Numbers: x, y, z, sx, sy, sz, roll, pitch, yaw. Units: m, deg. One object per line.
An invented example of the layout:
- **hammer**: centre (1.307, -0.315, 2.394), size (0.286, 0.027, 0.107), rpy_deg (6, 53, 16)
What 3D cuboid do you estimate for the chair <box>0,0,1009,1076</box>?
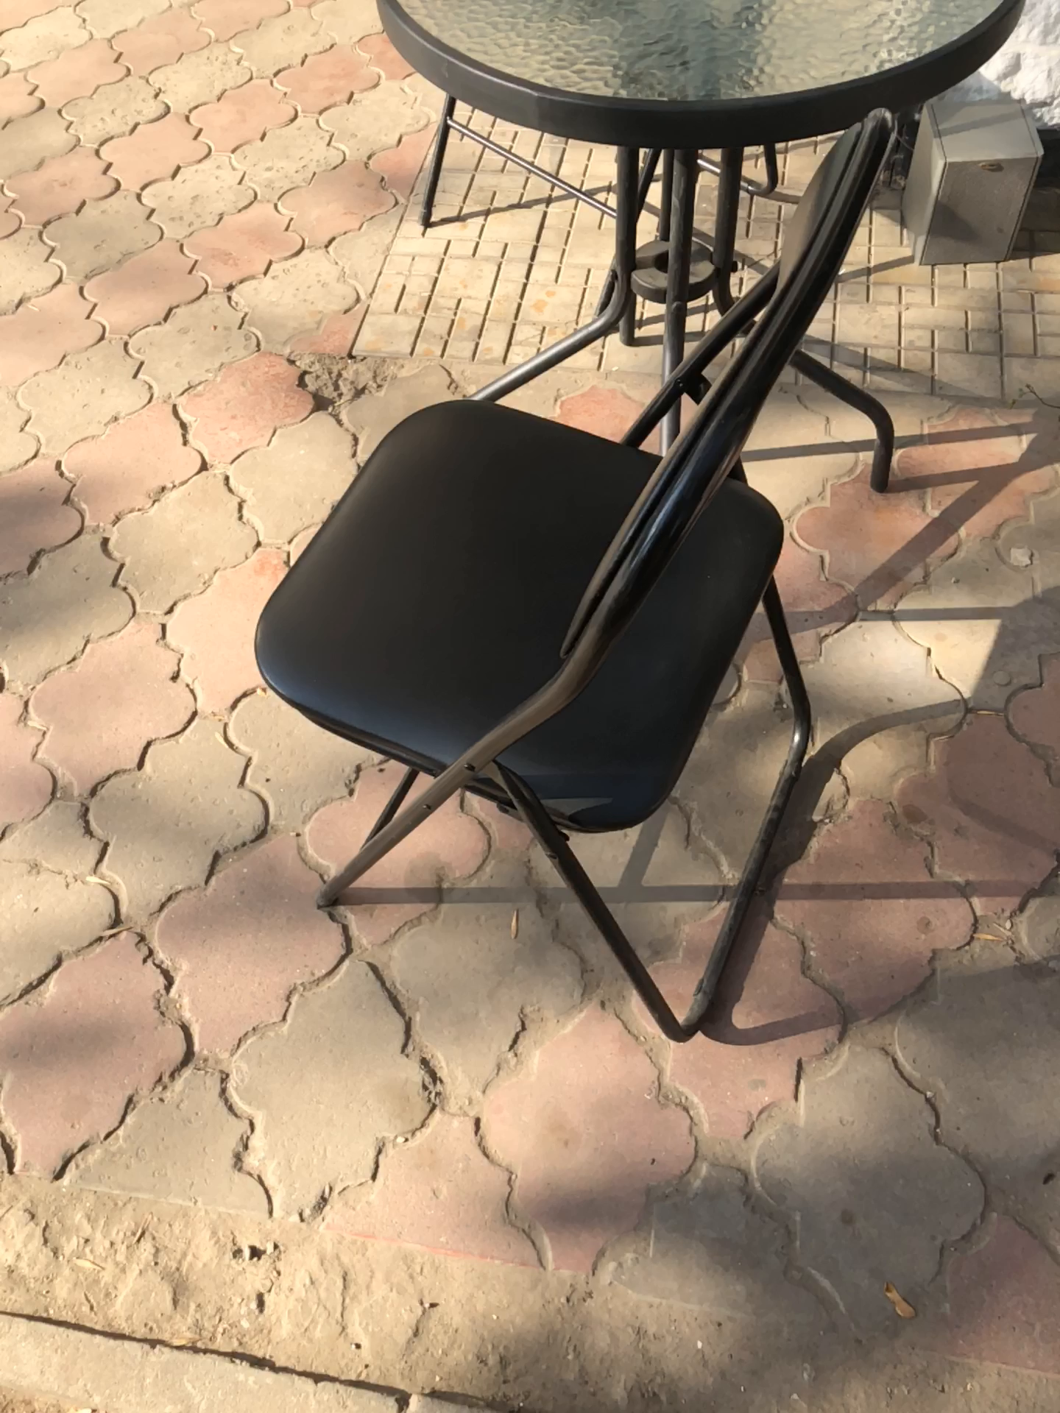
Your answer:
- **chair**: centre (0.025, -0.112, 1.007), size (0.470, 0.698, 0.501), rpy_deg (19, 58, 16)
